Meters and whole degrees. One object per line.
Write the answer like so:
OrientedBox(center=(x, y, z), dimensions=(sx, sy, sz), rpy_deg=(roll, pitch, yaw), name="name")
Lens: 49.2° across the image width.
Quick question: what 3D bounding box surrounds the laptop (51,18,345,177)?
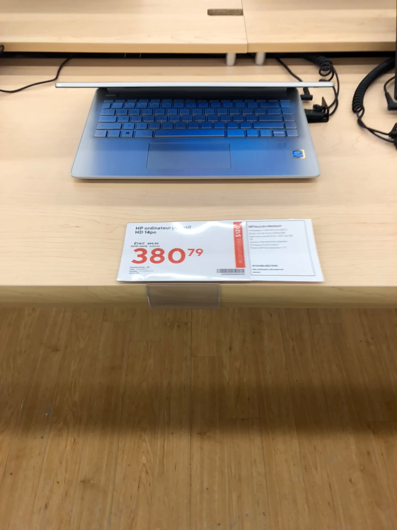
OrientedBox(center=(-0.010, -0.227, 0.577), dimensions=(0.318, 0.104, 0.217), rpy_deg=(1, 48, 6), name="laptop")
